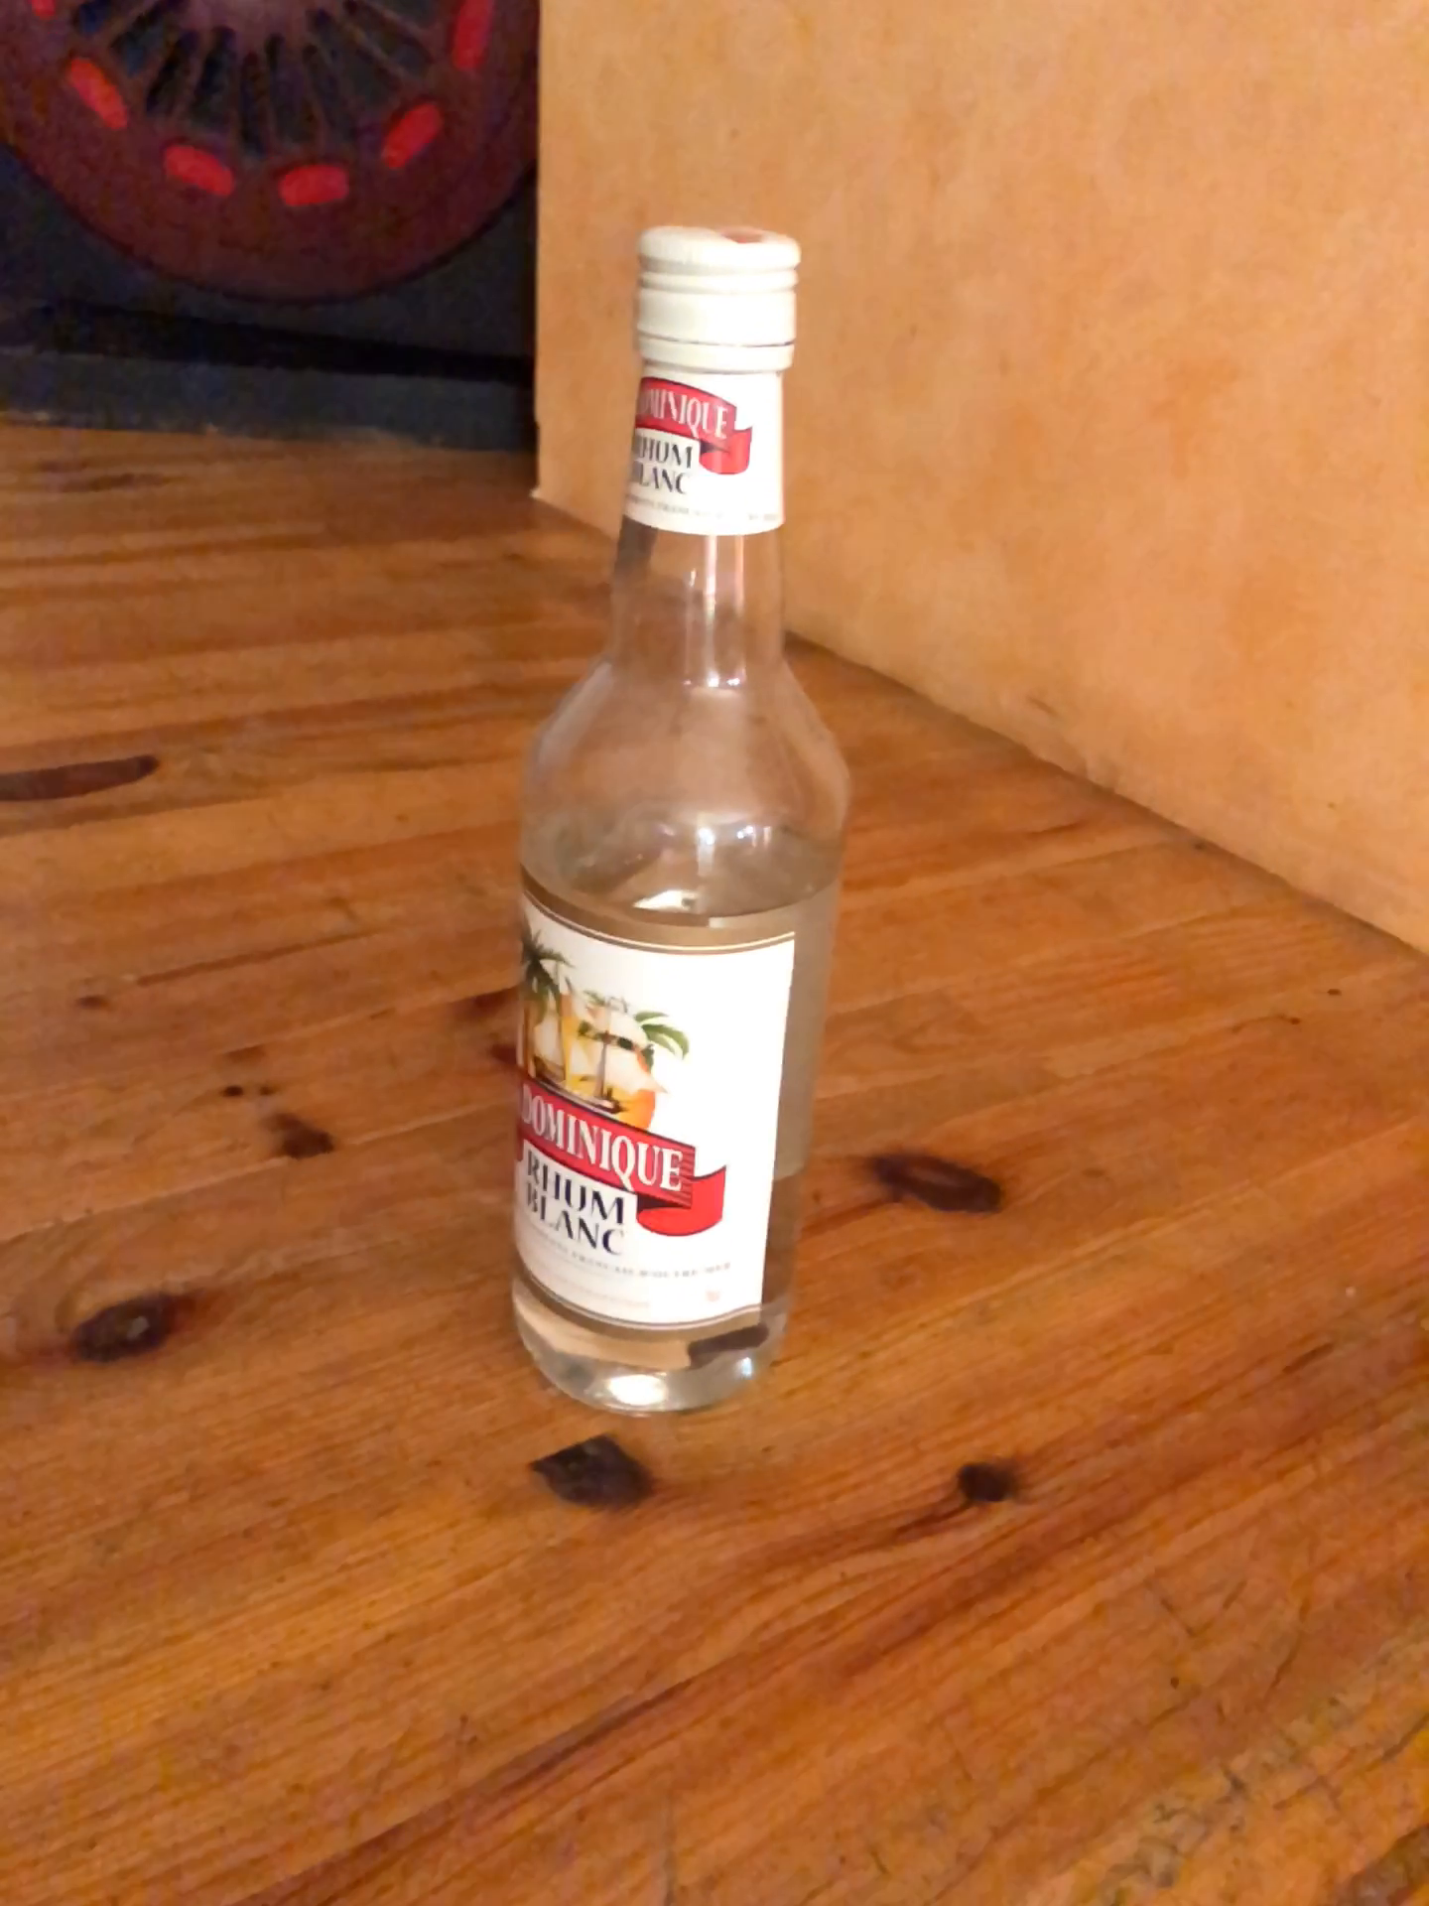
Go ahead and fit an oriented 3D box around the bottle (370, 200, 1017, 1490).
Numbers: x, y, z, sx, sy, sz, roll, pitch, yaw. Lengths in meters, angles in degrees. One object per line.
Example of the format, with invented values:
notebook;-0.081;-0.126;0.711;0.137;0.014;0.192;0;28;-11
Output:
bottle;-0.012;-0.021;0.352;0.080;0.258;0.090;-22;37;-39
